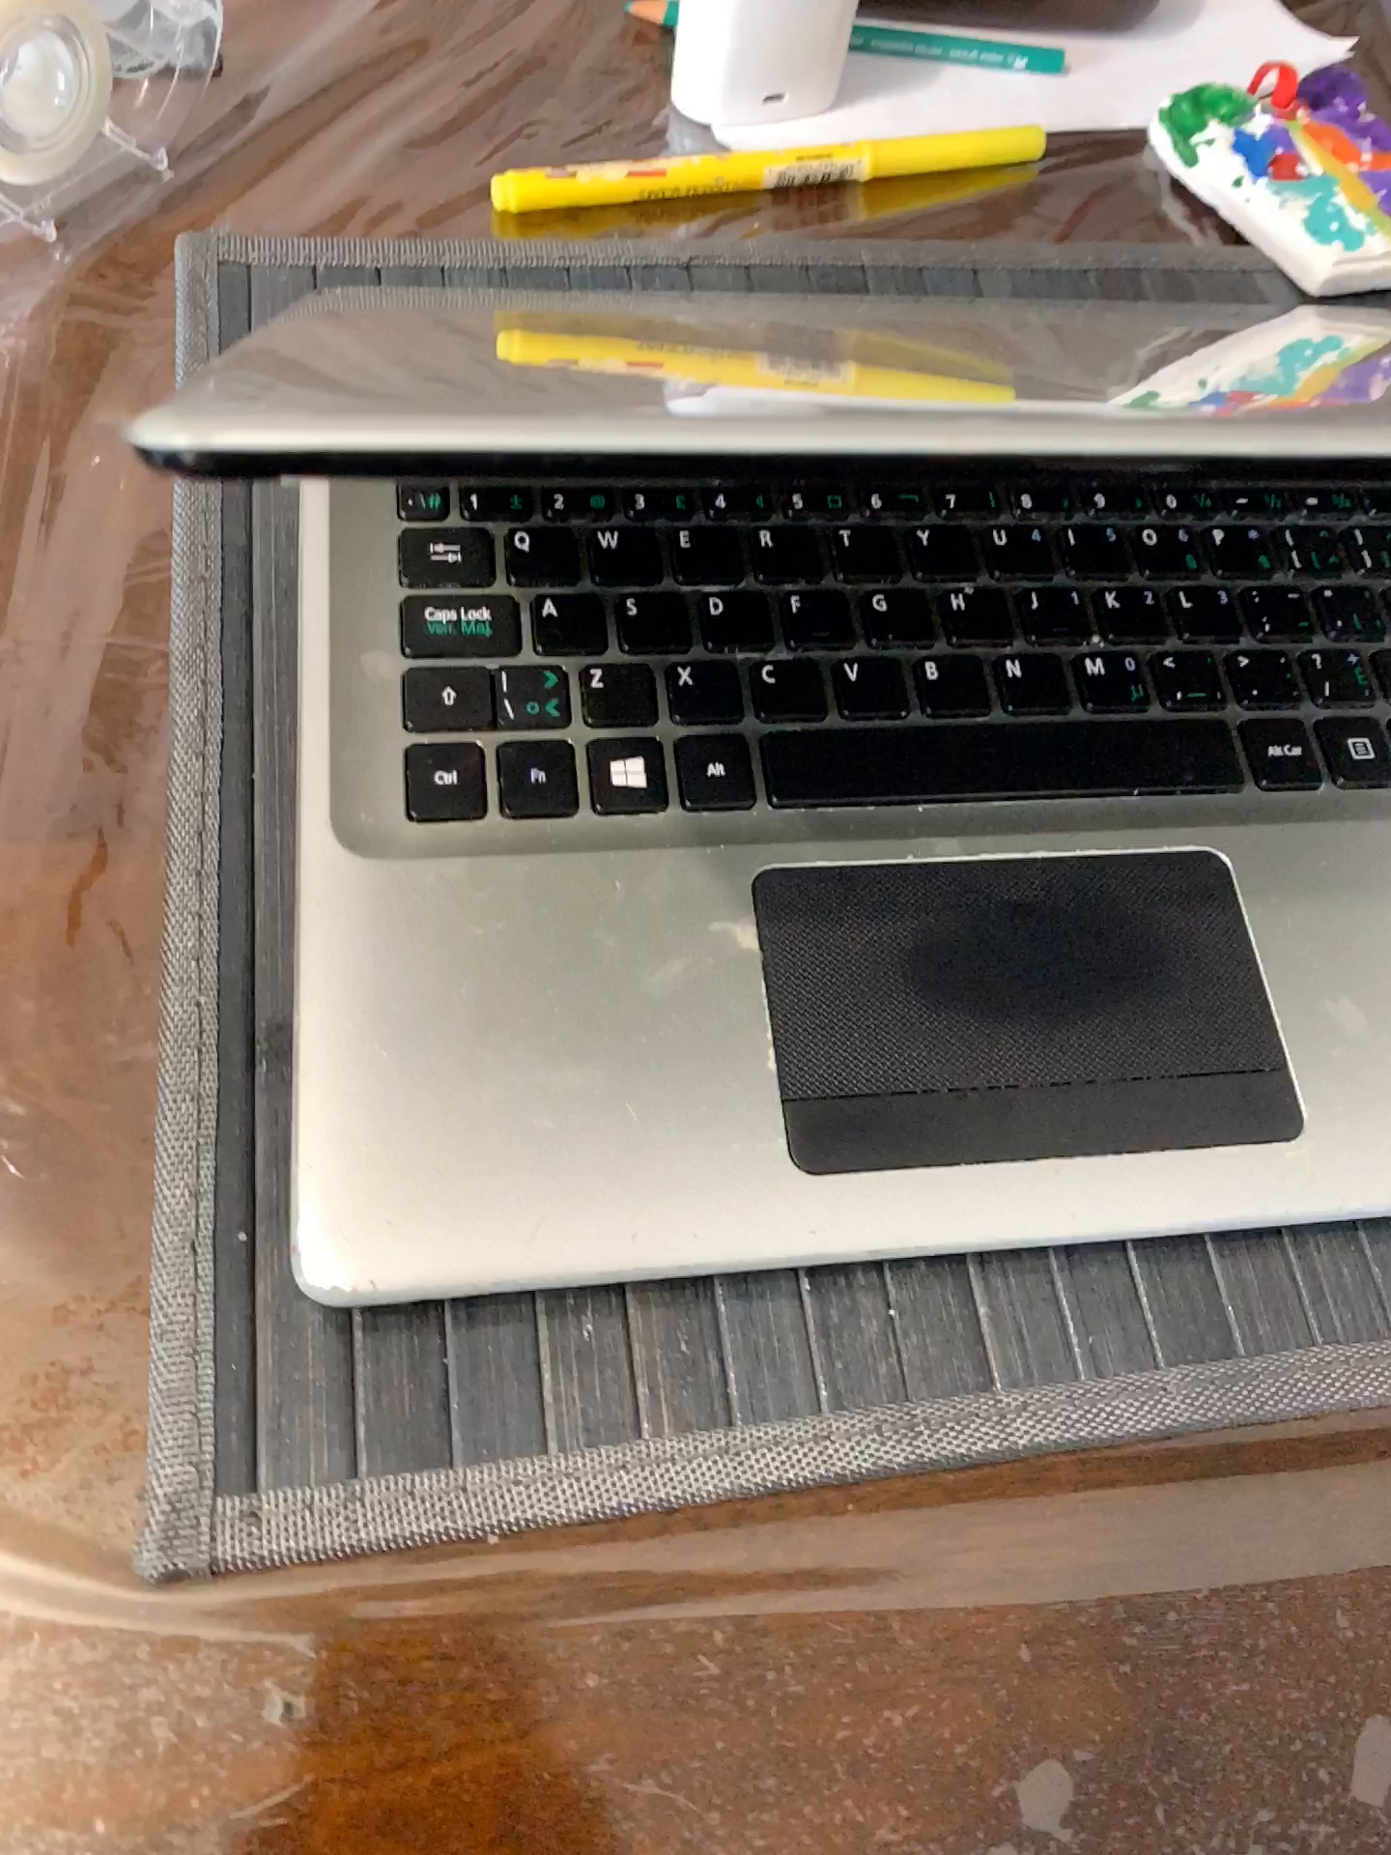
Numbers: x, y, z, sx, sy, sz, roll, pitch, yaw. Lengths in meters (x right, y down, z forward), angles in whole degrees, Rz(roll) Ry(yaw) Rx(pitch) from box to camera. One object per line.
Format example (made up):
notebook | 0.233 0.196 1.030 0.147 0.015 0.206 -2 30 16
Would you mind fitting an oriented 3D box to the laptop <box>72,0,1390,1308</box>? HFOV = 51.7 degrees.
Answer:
laptop | 0.095 -0.077 0.265 0.344 0.145 0.236 -2 64 -9
